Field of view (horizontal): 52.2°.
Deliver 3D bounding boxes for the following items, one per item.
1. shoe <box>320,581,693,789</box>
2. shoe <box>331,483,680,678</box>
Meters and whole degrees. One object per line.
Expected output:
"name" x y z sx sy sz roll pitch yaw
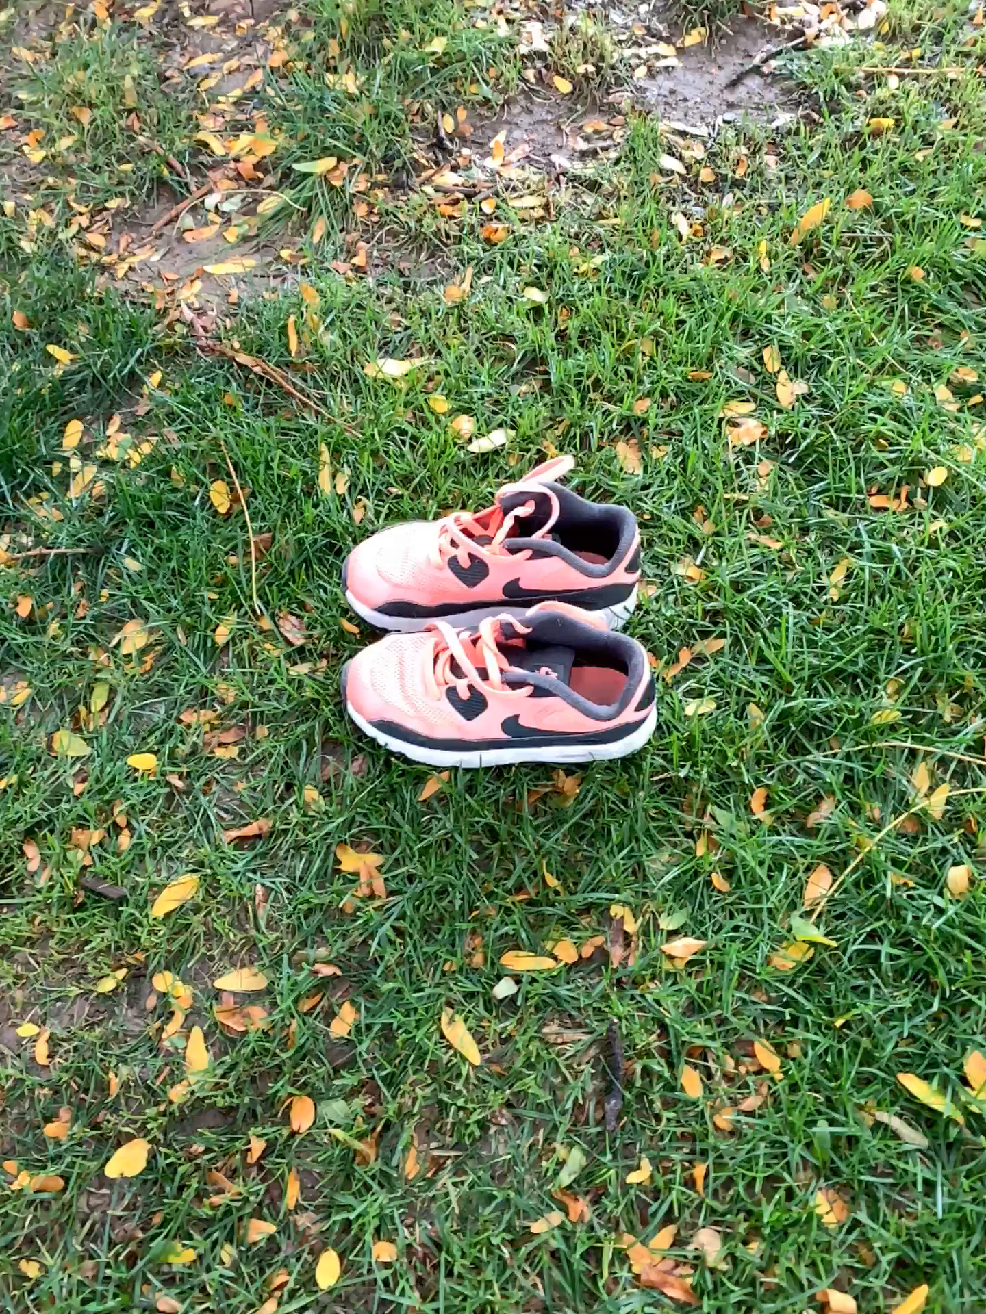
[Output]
"shoe" 0.011 0.017 0.589 0.200 0.070 0.080 5 59 5
"shoe" 0.011 -0.048 0.629 0.200 0.070 0.080 5 59 5
